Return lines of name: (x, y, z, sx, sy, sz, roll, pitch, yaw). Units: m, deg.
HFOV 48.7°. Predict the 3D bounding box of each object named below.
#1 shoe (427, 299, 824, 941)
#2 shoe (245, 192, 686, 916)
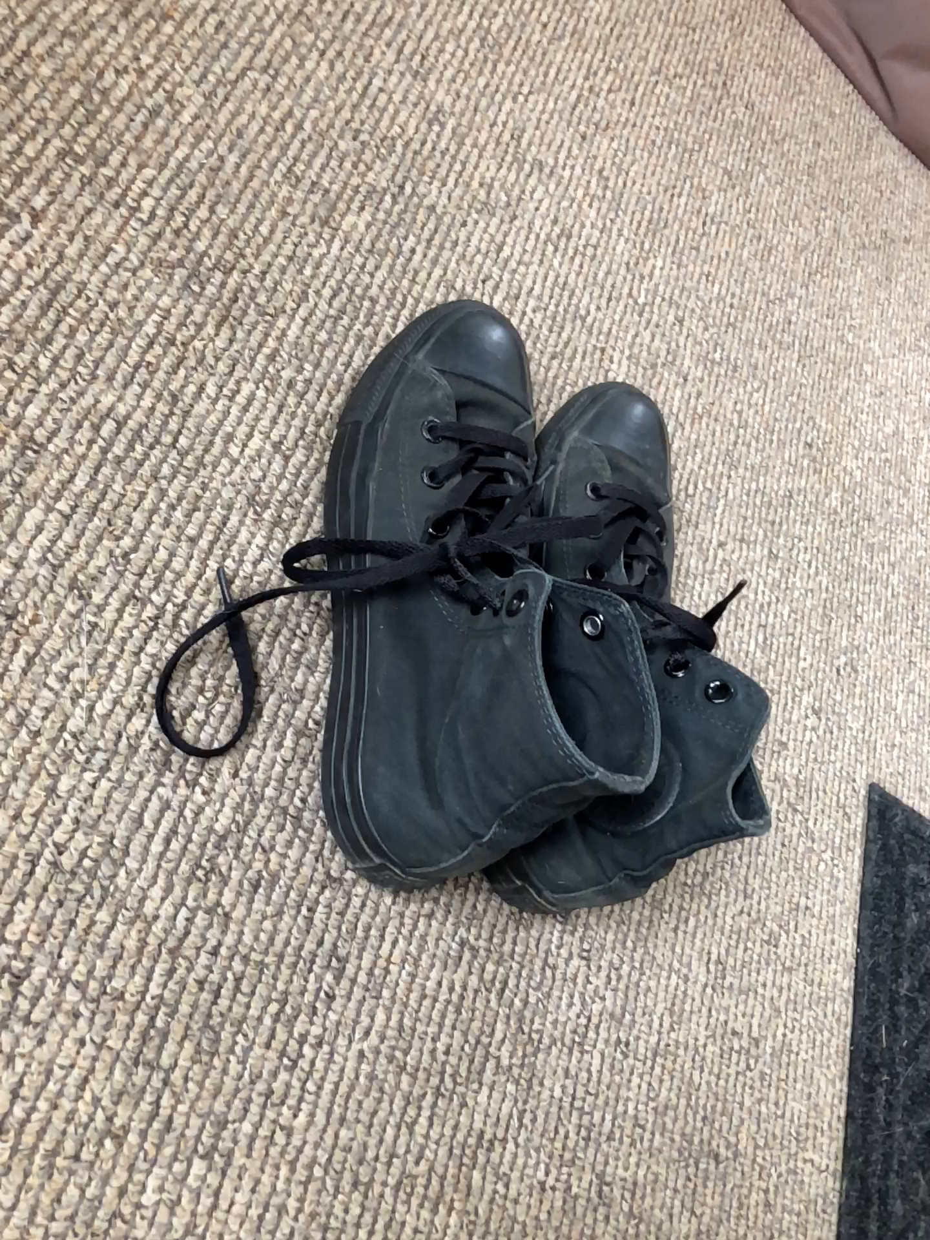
shoe: (0.074, 0.006, 0.451, 0.089, 0.126, 0.244, 25, 60, -31)
shoe: (0.005, -0.017, 0.394, 0.089, 0.126, 0.236, 22, 62, -33)
